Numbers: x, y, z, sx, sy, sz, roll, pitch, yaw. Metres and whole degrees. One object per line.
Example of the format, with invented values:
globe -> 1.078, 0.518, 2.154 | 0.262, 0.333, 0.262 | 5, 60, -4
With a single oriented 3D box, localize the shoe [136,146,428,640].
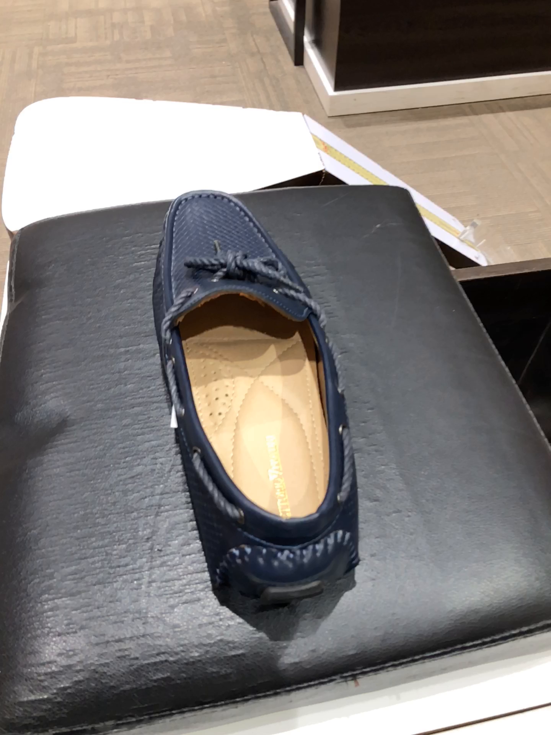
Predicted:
shoe -> -0.015, -0.009, 0.341 | 0.100, 0.080, 0.271 | -8, 52, -7
